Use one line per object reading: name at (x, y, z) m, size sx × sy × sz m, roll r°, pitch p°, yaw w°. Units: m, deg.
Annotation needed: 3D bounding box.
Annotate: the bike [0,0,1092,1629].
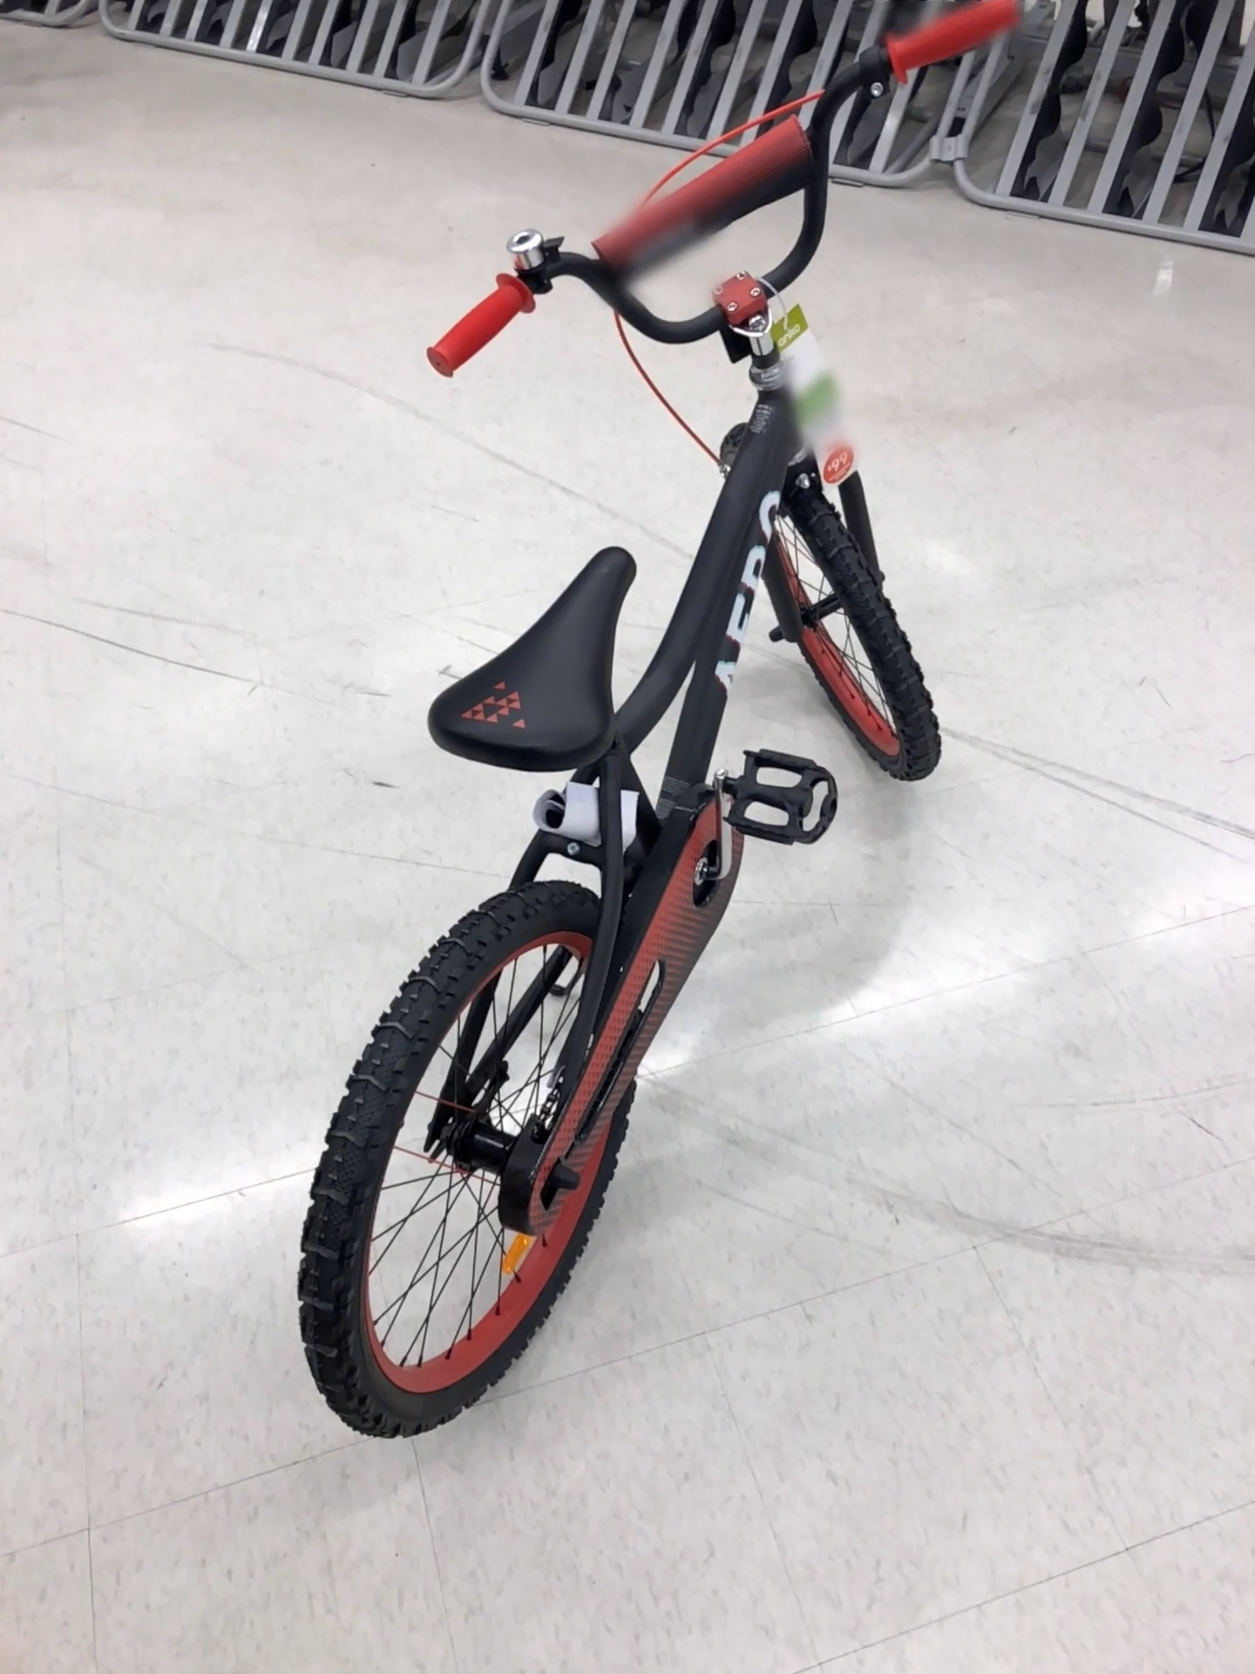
bike at (-0.040, -0.168, 1.290) m, size 0.625 × 0.925 × 1.252 m, roll 13°, pitch 50°, yaw 12°
